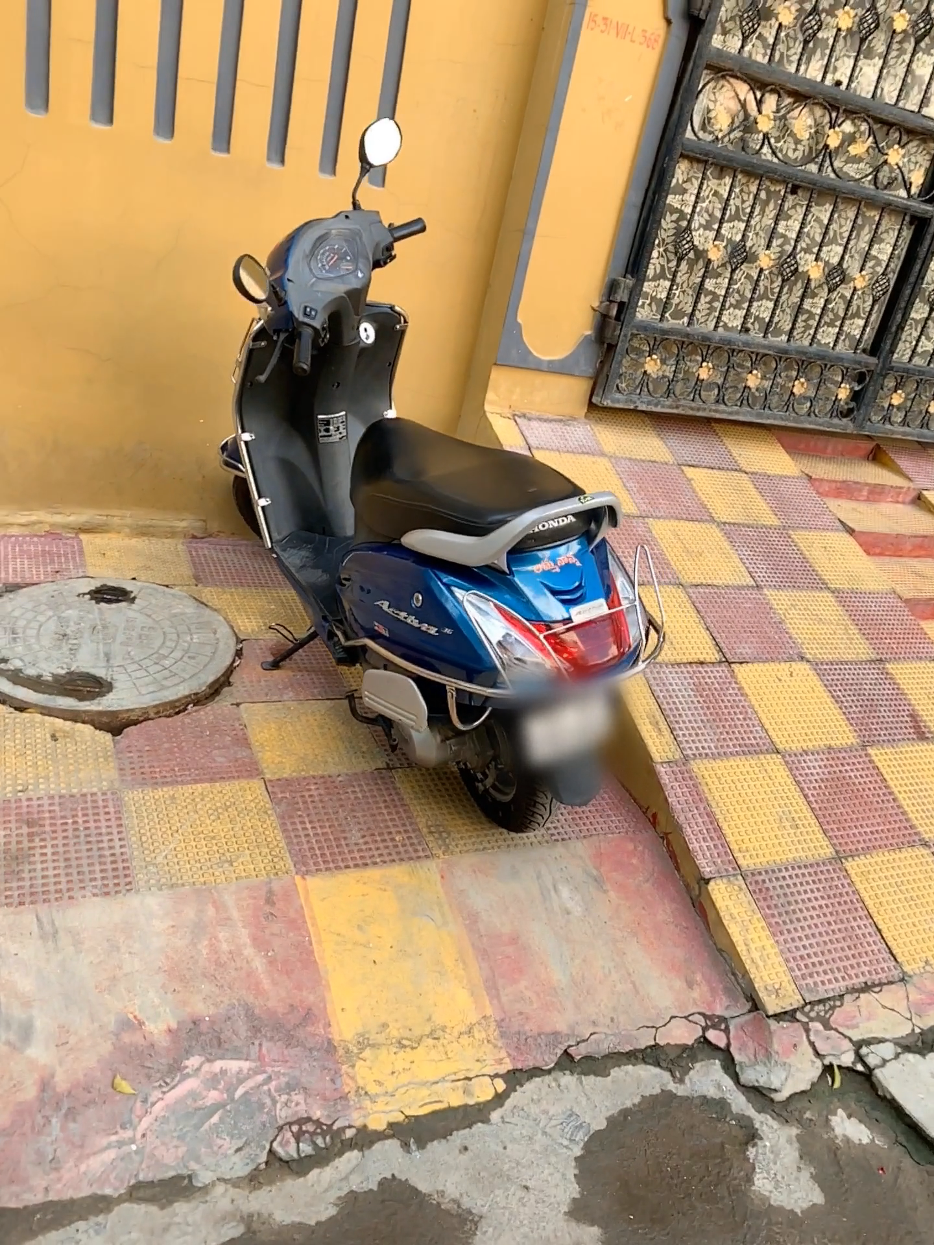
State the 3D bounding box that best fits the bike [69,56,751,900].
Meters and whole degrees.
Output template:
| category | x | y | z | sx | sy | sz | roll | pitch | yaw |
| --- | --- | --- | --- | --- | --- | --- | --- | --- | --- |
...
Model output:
| category | x | y | z | sx | sy | sz | roll | pitch | yaw |
| --- | --- | --- | --- | --- | --- | --- | --- | --- | --- |
| bike | -0.318 | -0.425 | 2.141 | 0.597 | 1.098 | 1.531 | -7 | 36 | -38 |
